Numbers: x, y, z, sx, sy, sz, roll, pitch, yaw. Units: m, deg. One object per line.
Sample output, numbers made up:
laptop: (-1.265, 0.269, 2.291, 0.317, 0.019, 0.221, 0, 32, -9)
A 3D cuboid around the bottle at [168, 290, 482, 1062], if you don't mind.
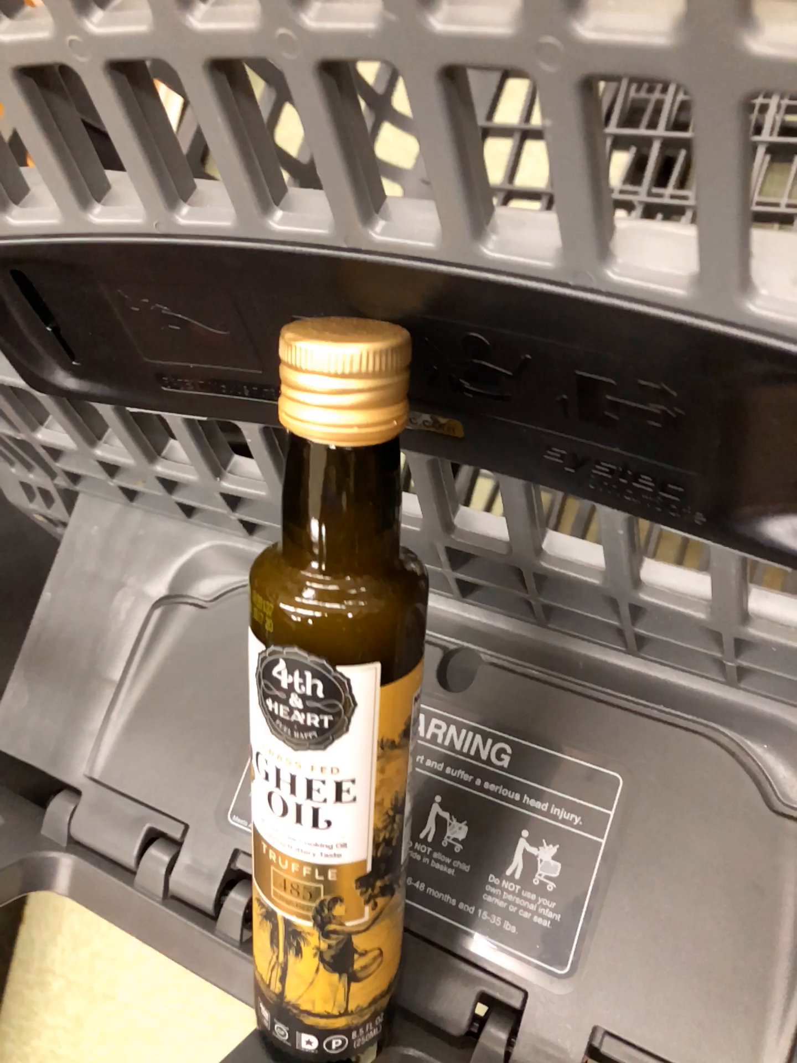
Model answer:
bottle: (-0.020, 0.064, 0.259, 0.054, 0.050, 0.250, 15, 118, 25)
